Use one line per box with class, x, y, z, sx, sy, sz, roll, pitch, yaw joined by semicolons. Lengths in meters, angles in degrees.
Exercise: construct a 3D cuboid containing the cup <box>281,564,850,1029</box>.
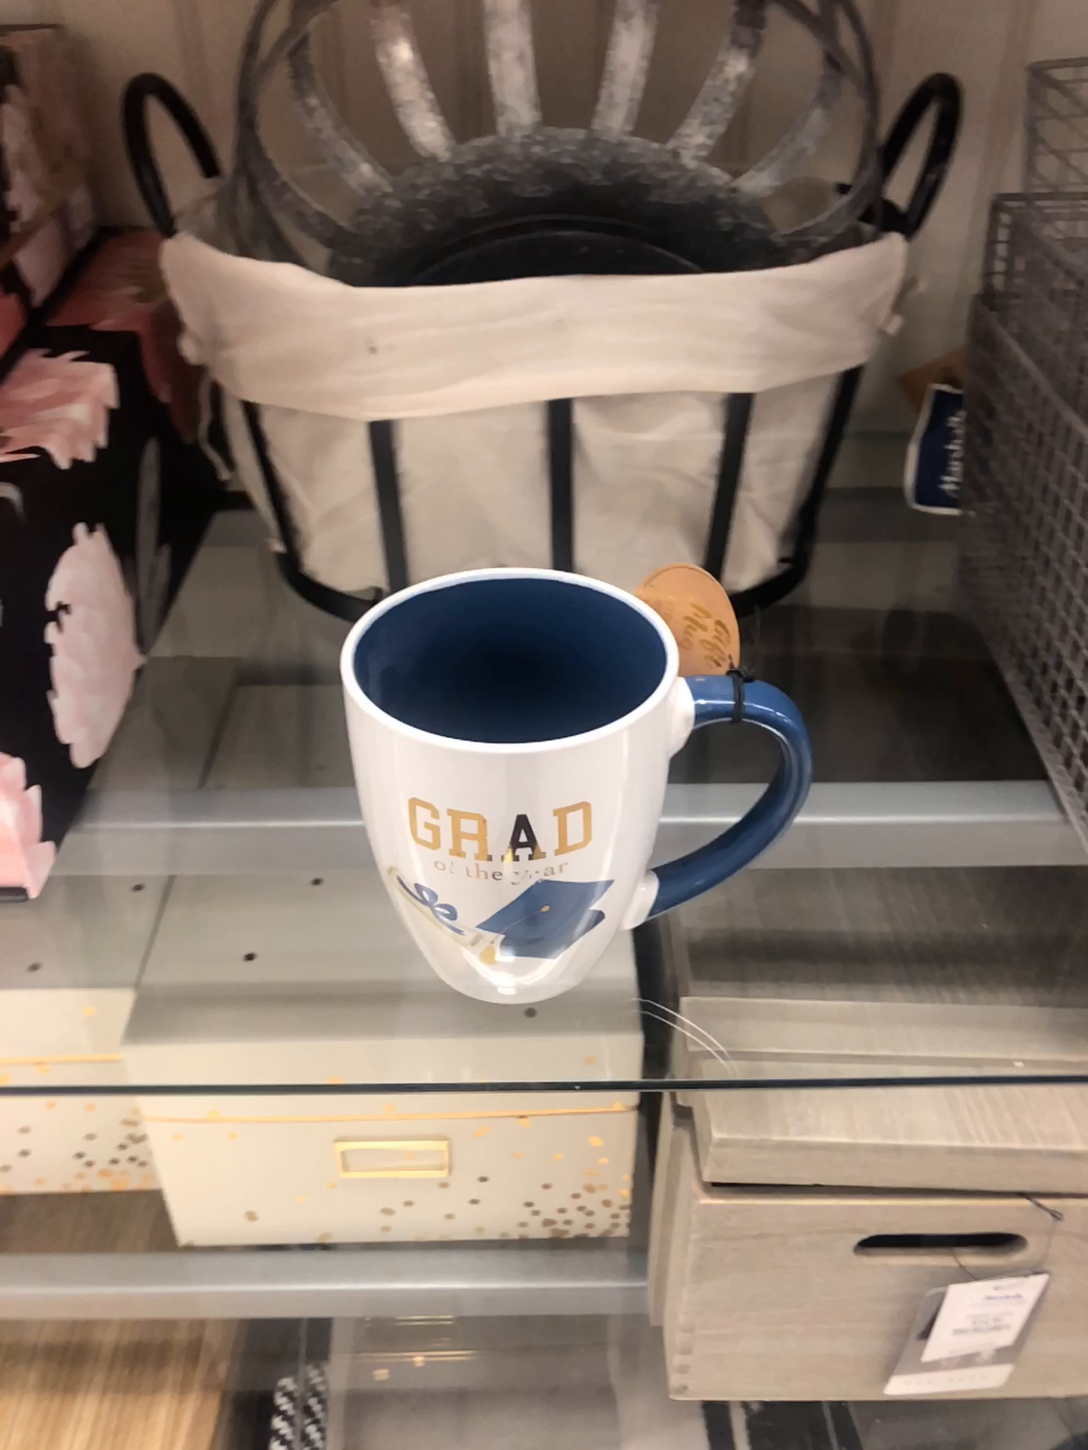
cup;0.007;0.019;0.392;0.150;0.096;0.116;1;36;1
